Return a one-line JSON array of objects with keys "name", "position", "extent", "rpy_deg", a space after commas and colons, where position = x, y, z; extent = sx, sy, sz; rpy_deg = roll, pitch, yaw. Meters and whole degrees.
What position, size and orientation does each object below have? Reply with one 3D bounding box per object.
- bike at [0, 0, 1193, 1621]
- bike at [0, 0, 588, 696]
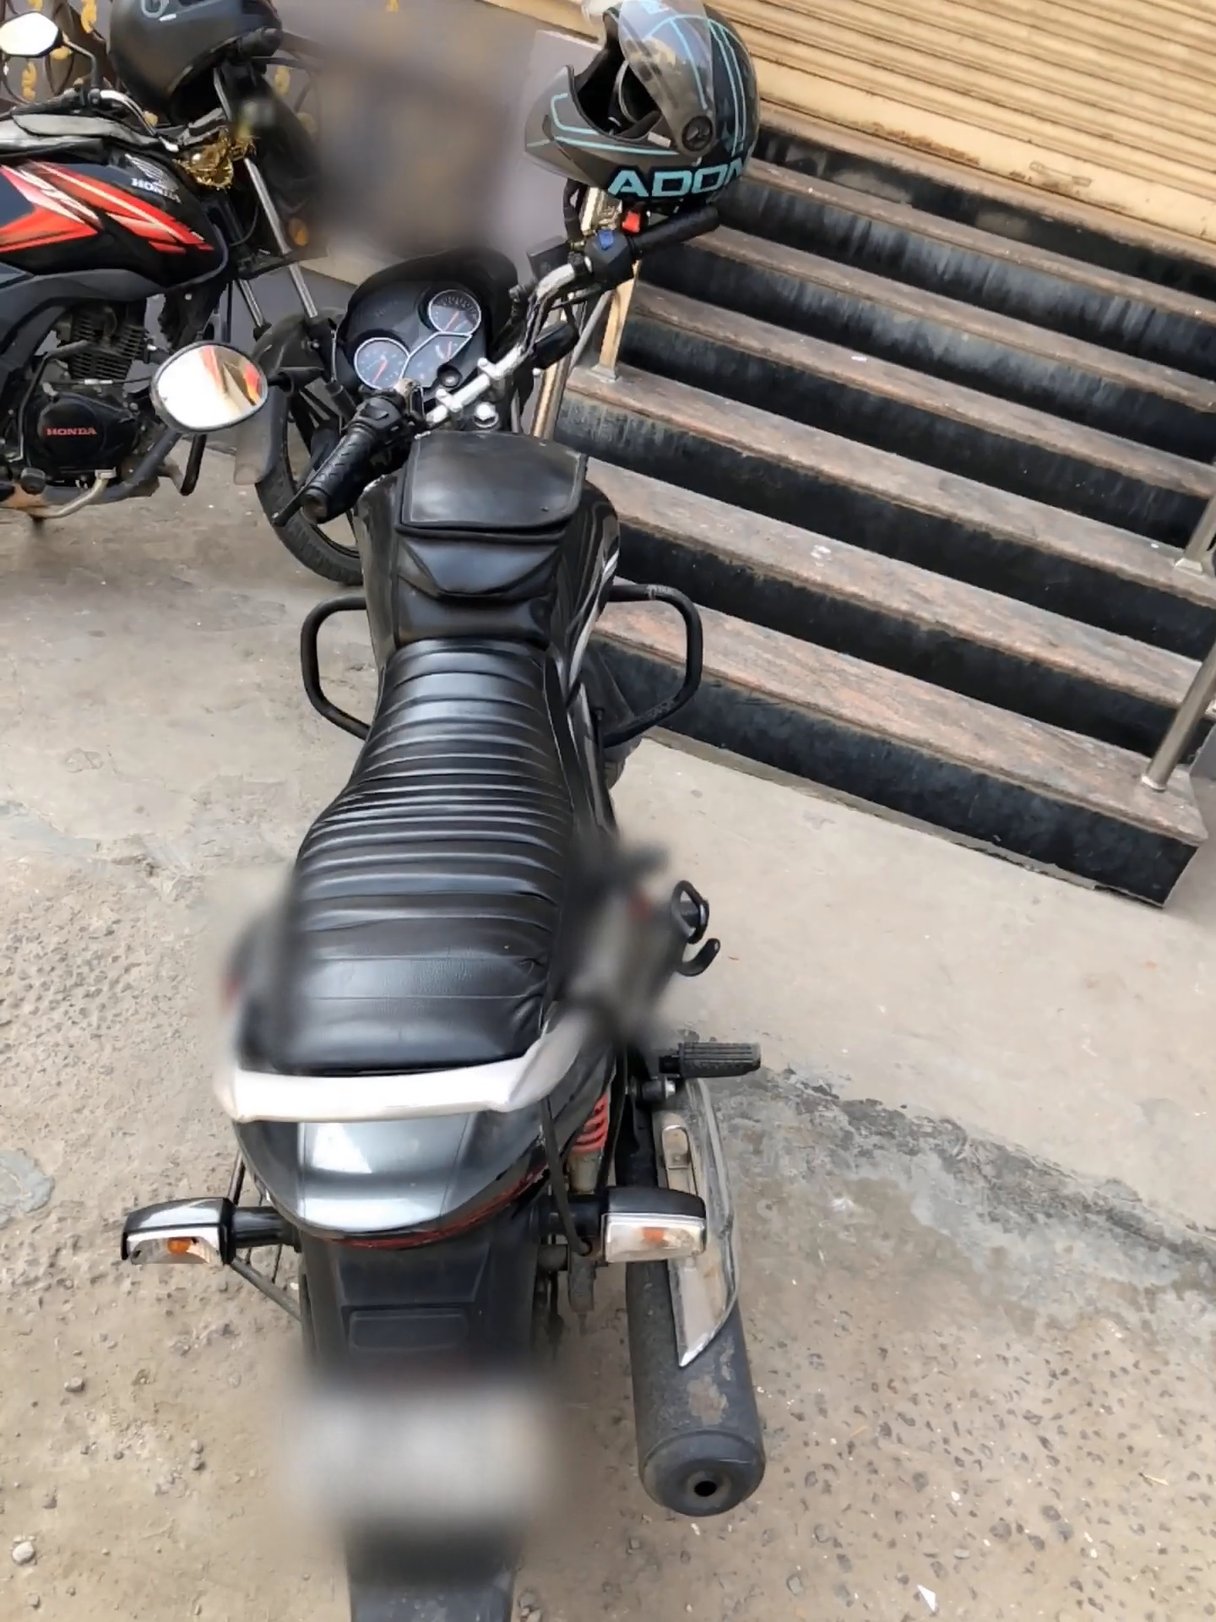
[{"name": "bike", "position": [-0.334, -0.235, 1.610], "extent": [0.746, 1.156, 1.745], "rpy_deg": [8, 35, -16]}, {"name": "bike", "position": [-0.989, -0.915, 2.477], "extent": [1.603, 1.056, 0.685], "rpy_deg": [-12, 41, -41]}]
